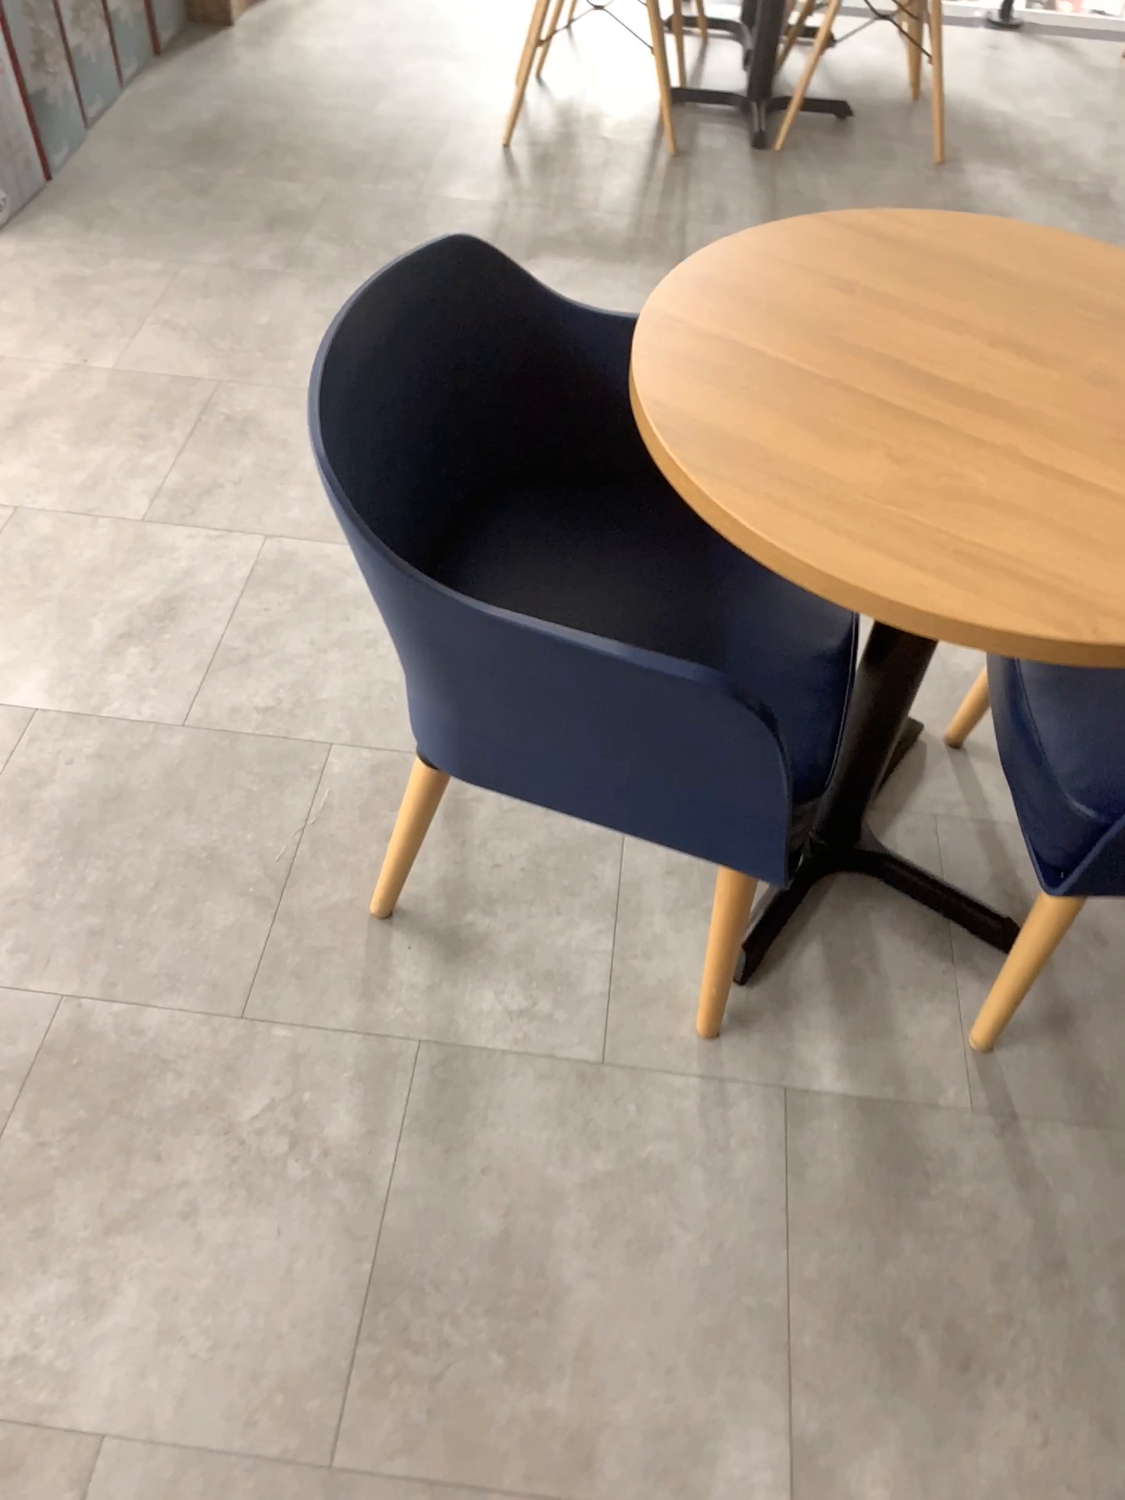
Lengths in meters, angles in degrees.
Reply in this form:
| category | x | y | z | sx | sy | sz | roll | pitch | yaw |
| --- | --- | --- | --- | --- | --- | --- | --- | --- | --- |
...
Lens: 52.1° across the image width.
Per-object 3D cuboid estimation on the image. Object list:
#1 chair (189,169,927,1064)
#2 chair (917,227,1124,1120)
| category | x | y | z | sx | sy | sz | roll | pitch | yaw |
| --- | --- | --- | --- | --- | --- | --- | --- | --- | --- |
| chair | 0.026 | -0.129 | 1.311 | 0.547 | 0.735 | 0.567 | 12 | 49 | 7 |
| chair | 0.798 | -0.052 | 1.260 | 0.557 | 0.735 | 0.567 | 7 | 49 | 2 |
